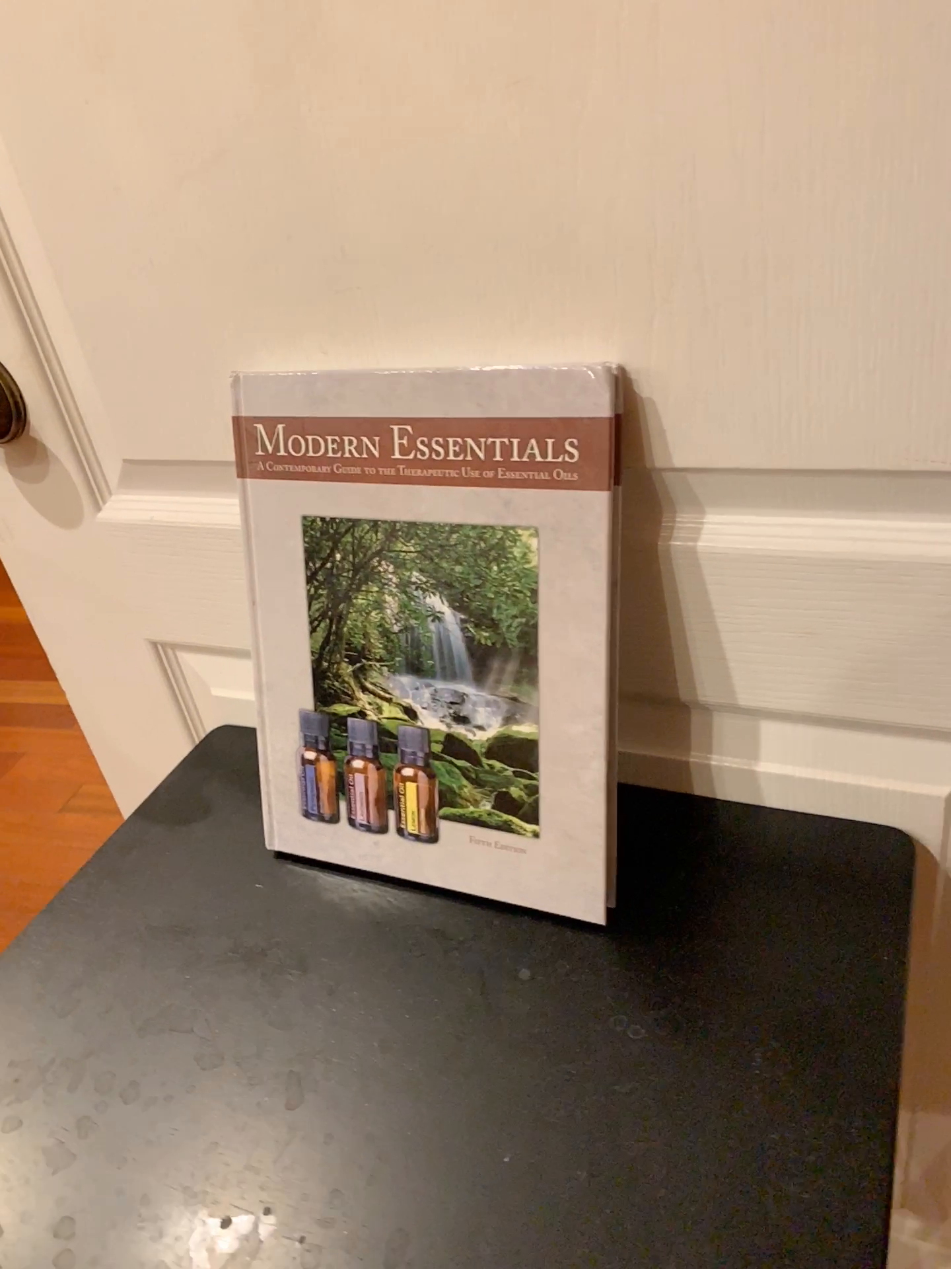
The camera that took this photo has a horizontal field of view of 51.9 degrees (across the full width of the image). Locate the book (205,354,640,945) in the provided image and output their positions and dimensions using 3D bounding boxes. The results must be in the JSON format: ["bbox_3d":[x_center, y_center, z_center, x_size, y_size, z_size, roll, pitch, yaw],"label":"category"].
[{"bbox_3d":[-0.030,0.004,0.523,0.230,0.289,0.030,6,17,25],"label":"book"}]
